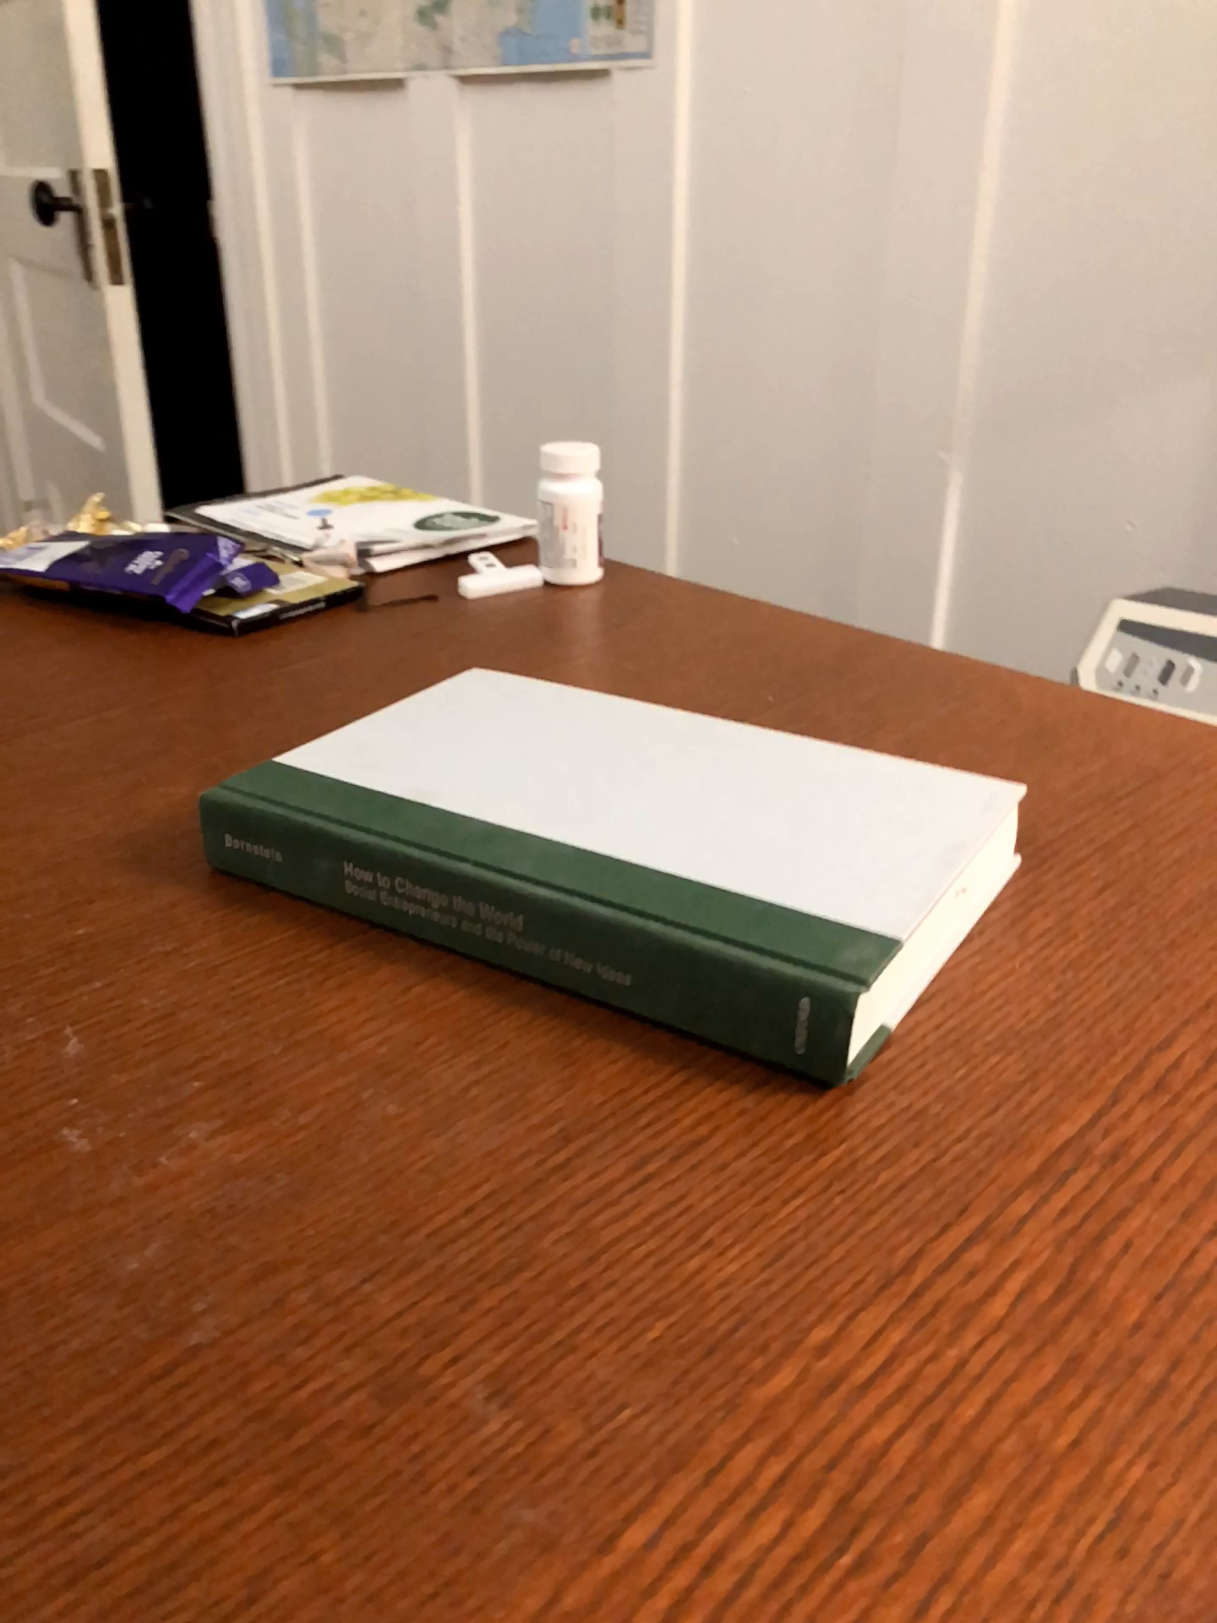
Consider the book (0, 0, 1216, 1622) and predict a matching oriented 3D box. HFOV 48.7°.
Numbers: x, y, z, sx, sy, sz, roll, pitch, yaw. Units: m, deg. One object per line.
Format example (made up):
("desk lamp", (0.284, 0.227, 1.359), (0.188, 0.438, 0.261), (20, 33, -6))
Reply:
("book", (0.269, -0.288, 0.209), (1.000, 0.995, 1.005), (5, 26, 11))
